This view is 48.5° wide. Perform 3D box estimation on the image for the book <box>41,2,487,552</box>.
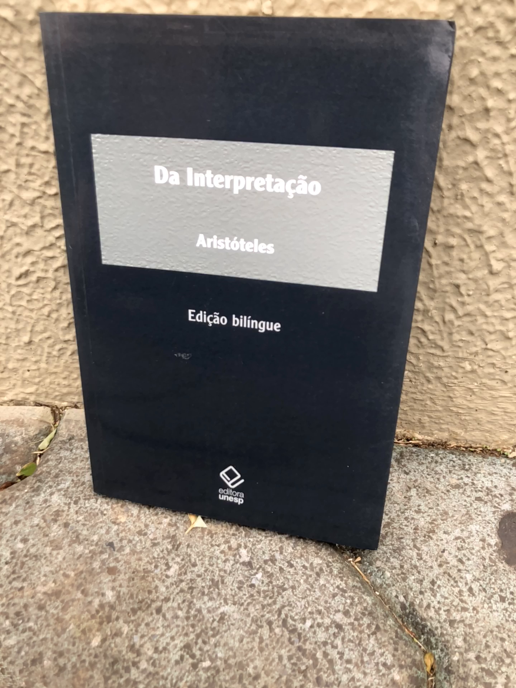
[{"bbox_3d":[-0.003,-0.018,0.215,0.132,0.187,0.030,8,25,13],"label":"book"}]
